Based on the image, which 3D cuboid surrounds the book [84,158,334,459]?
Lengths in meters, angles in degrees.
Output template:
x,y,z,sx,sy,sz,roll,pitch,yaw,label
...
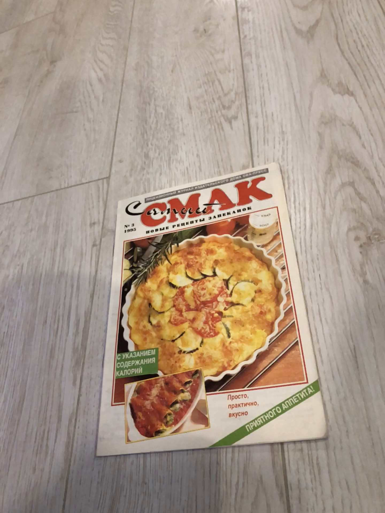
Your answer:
x,y,z,sx,sy,sz,roll,pitch,yaw,label
0.005,0.030,0.342,0.165,0.020,0.230,-12,55,15,book
